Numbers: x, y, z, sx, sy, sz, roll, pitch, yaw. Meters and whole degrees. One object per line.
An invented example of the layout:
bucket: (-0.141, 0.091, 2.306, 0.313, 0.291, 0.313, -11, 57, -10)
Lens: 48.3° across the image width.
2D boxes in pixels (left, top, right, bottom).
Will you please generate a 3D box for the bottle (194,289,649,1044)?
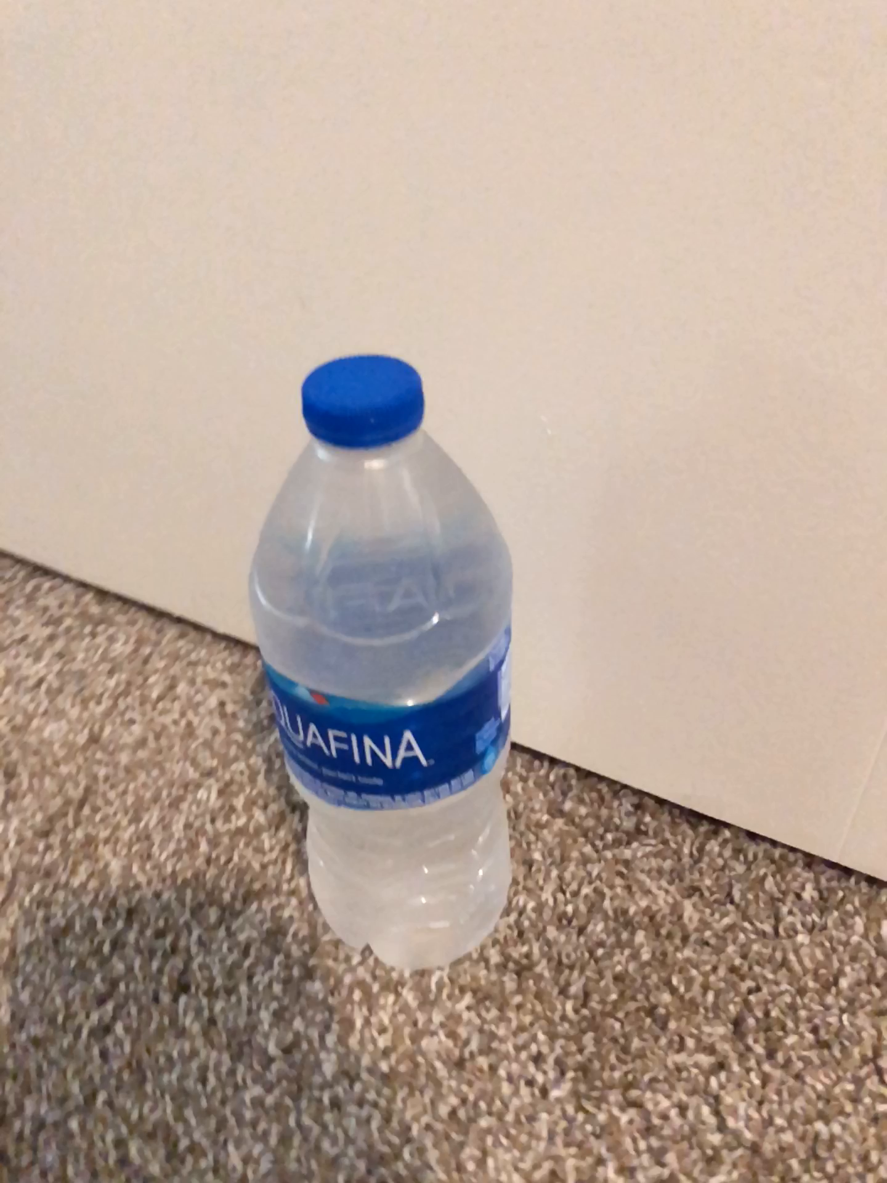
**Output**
bottle: (-0.001, 0.028, 0.268, 0.070, 0.189, 0.070, -1, 38, 1)
